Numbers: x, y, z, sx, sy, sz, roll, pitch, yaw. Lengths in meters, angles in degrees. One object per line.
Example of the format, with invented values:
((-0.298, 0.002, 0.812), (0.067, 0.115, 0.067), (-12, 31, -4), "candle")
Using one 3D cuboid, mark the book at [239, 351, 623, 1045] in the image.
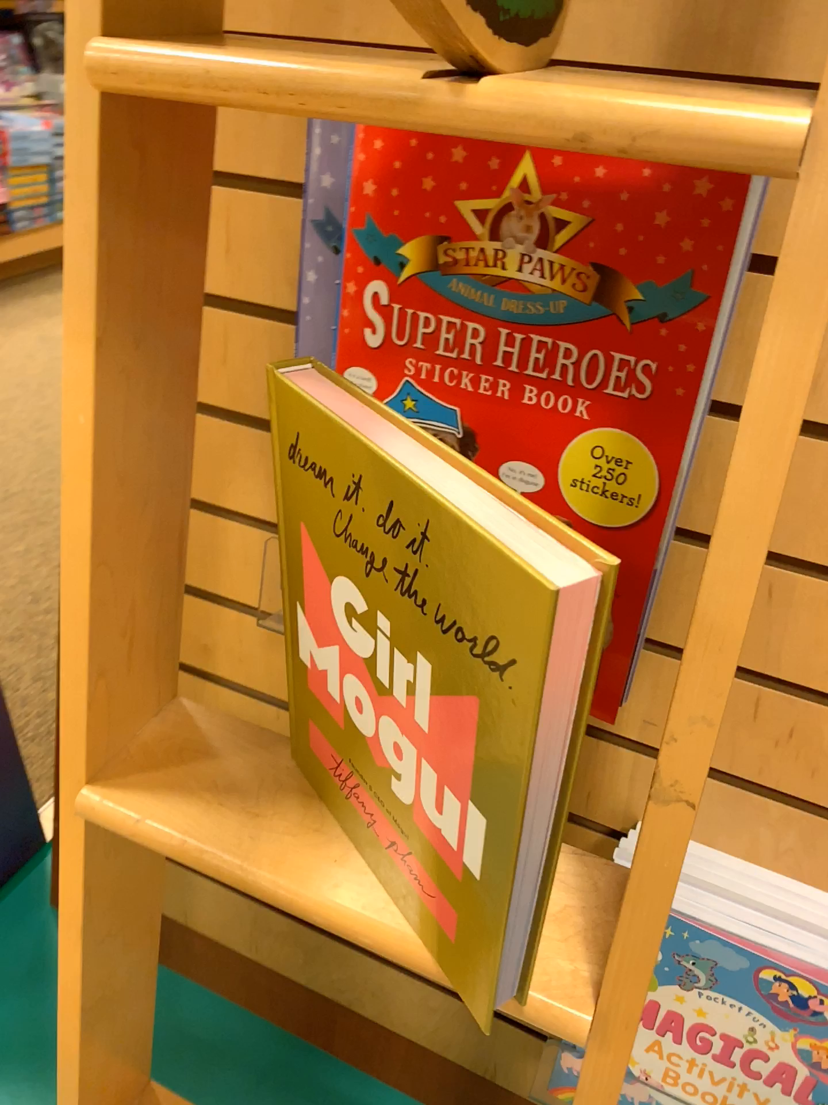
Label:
((-0.012, 0.055, 0.346), (0.030, 0.219, 0.181), (-18, 39, -30), "book")
